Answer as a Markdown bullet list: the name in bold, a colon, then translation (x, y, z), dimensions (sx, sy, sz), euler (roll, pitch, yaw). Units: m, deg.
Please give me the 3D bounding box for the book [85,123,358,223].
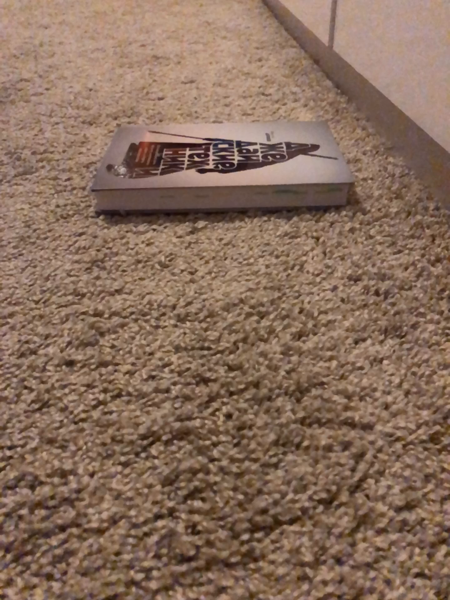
- **book**: translation (-0.003, -0.125, 0.467), dimensions (0.220, 0.026, 0.151), euler (-1, 38, 1)
